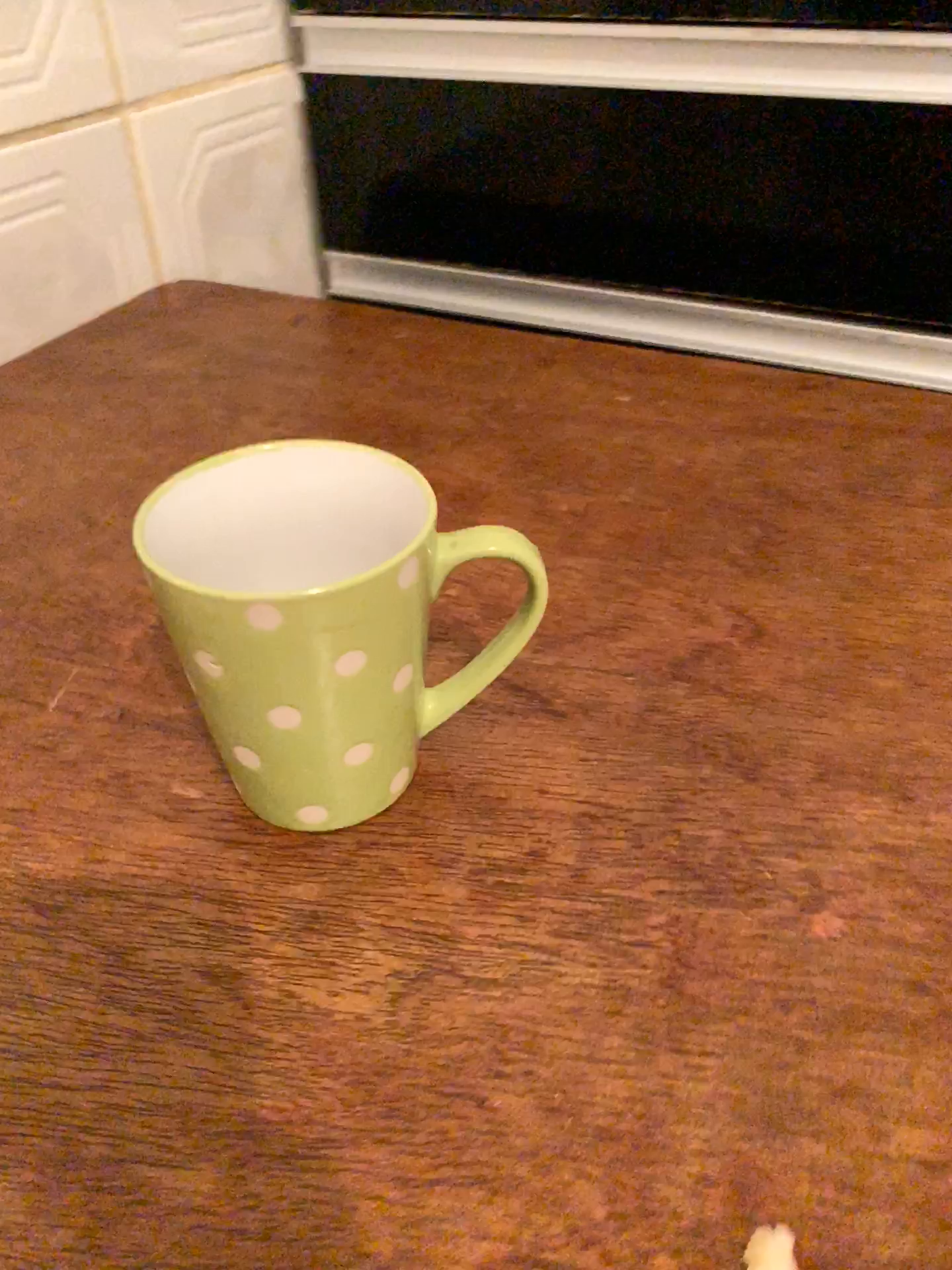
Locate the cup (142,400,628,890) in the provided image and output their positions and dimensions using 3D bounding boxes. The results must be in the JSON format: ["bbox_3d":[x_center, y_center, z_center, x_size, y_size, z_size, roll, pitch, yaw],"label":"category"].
[{"bbox_3d":[-0.029,-0.001,0.306,0.120,0.099,0.091,-9,38,-10],"label":"cup"}]
